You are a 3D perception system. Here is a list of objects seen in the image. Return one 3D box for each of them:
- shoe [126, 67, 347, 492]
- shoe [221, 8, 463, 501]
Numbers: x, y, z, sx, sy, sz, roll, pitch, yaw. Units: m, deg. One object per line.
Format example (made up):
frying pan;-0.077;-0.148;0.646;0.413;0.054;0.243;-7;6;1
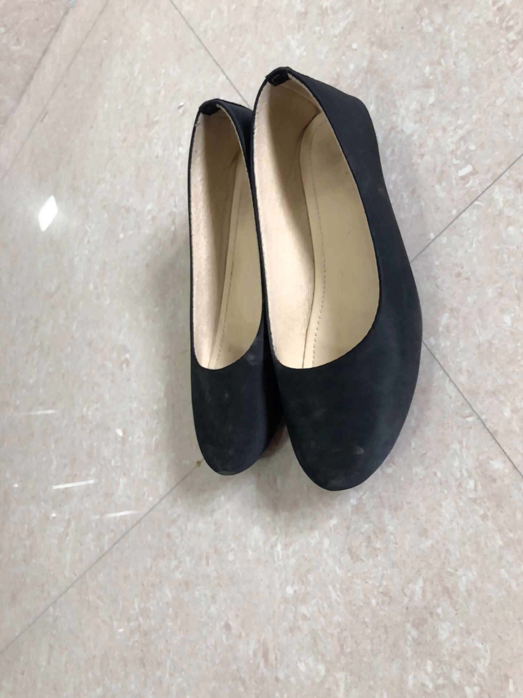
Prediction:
shoe;-0.013;-0.036;0.375;0.093;0.075;0.239;-5;75;43
shoe;0.041;-0.041;0.321;0.093;0.075;0.239;-13;70;41
